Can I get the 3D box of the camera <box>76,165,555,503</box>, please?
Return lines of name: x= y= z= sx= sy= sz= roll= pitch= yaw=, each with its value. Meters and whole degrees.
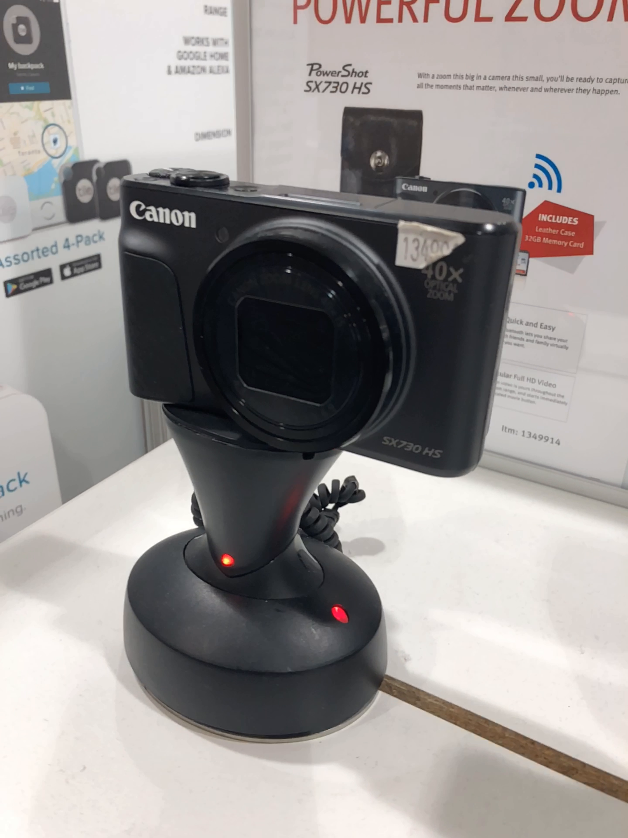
camera: x=-0.003 y=-0.028 z=0.183 sx=0.110 sy=0.060 sz=0.040 roll=14 pitch=29 yaw=25
